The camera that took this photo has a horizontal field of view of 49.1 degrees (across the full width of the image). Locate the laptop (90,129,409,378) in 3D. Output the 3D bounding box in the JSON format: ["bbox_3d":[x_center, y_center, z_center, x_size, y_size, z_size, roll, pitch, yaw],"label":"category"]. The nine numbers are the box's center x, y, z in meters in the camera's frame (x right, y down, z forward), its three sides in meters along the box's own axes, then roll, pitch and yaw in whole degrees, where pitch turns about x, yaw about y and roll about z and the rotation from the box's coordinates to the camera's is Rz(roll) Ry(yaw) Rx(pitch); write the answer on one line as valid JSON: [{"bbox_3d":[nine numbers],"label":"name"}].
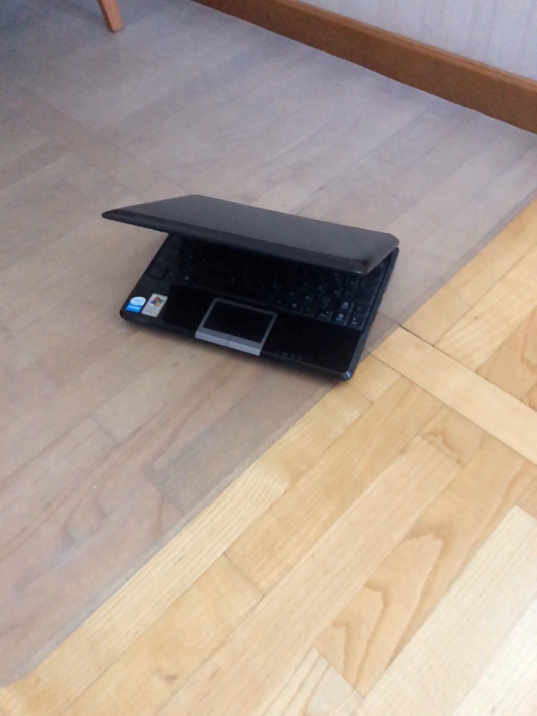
[{"bbox_3d":[-0.013,-0.117,0.617,0.263,0.102,0.183,15,60,15],"label":"laptop"}]
